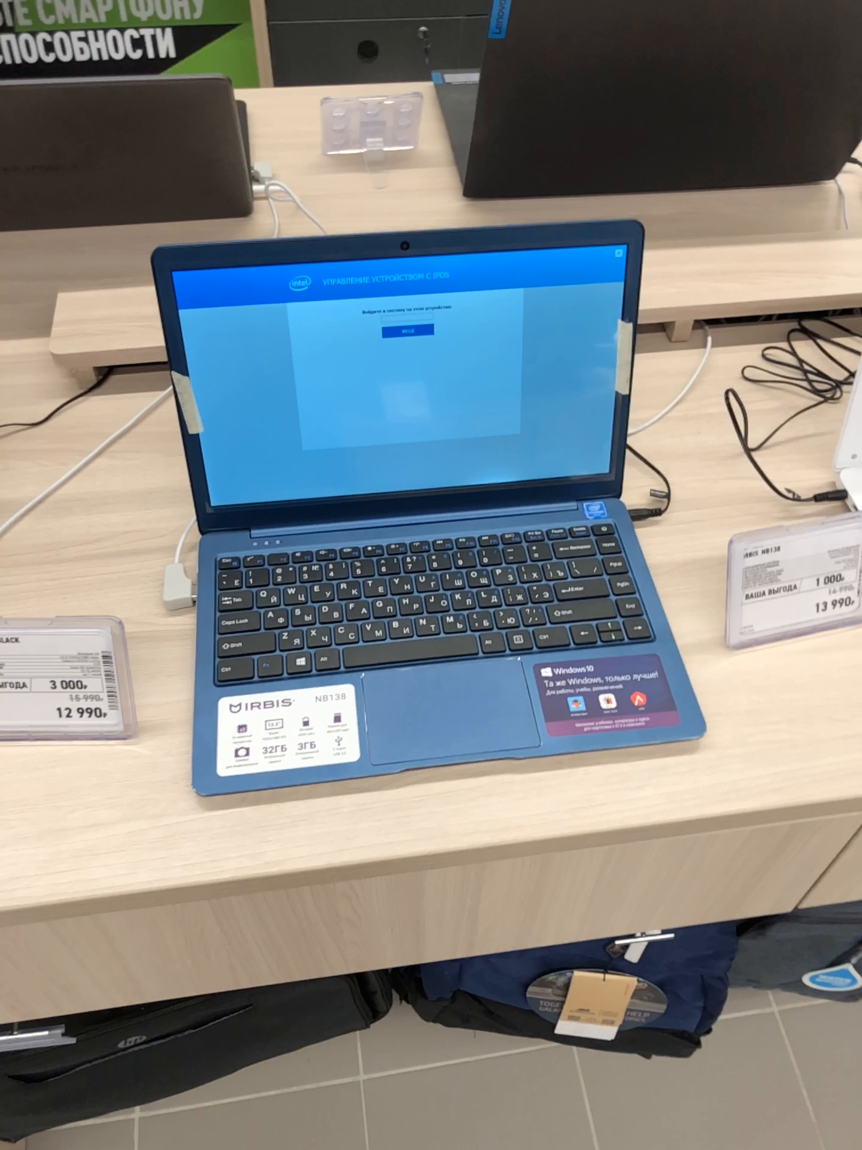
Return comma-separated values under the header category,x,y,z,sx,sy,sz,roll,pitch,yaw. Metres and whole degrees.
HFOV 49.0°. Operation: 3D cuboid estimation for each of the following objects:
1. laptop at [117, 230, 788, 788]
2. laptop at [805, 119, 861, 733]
category,x,y,z,sx,sy,sz,roll,pitch,yaw
laptop,-0.006,-0.050,0.588,0.309,0.185,0.271,-5,51,-6
laptop,0.481,-0.104,0.613,0.310,0.218,0.290,-7,51,-7
